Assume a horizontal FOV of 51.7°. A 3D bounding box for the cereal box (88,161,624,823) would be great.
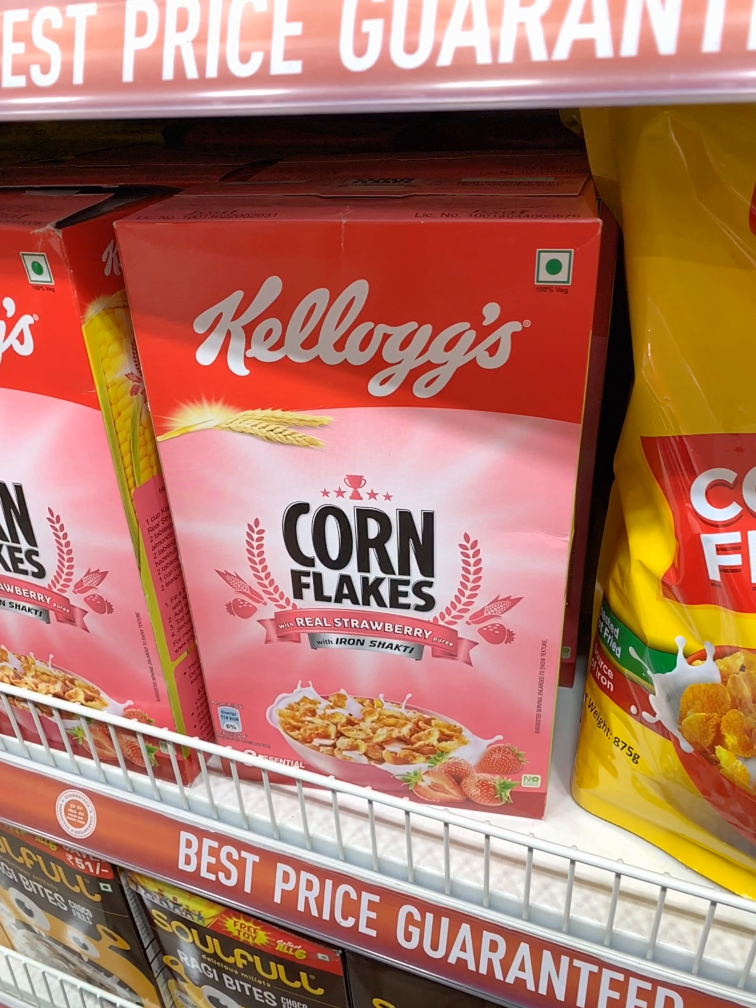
[{"bbox_3d":[0.003,0.002,0.345,0.170,0.268,0.091,3,30,11],"label":"cereal box"}]
